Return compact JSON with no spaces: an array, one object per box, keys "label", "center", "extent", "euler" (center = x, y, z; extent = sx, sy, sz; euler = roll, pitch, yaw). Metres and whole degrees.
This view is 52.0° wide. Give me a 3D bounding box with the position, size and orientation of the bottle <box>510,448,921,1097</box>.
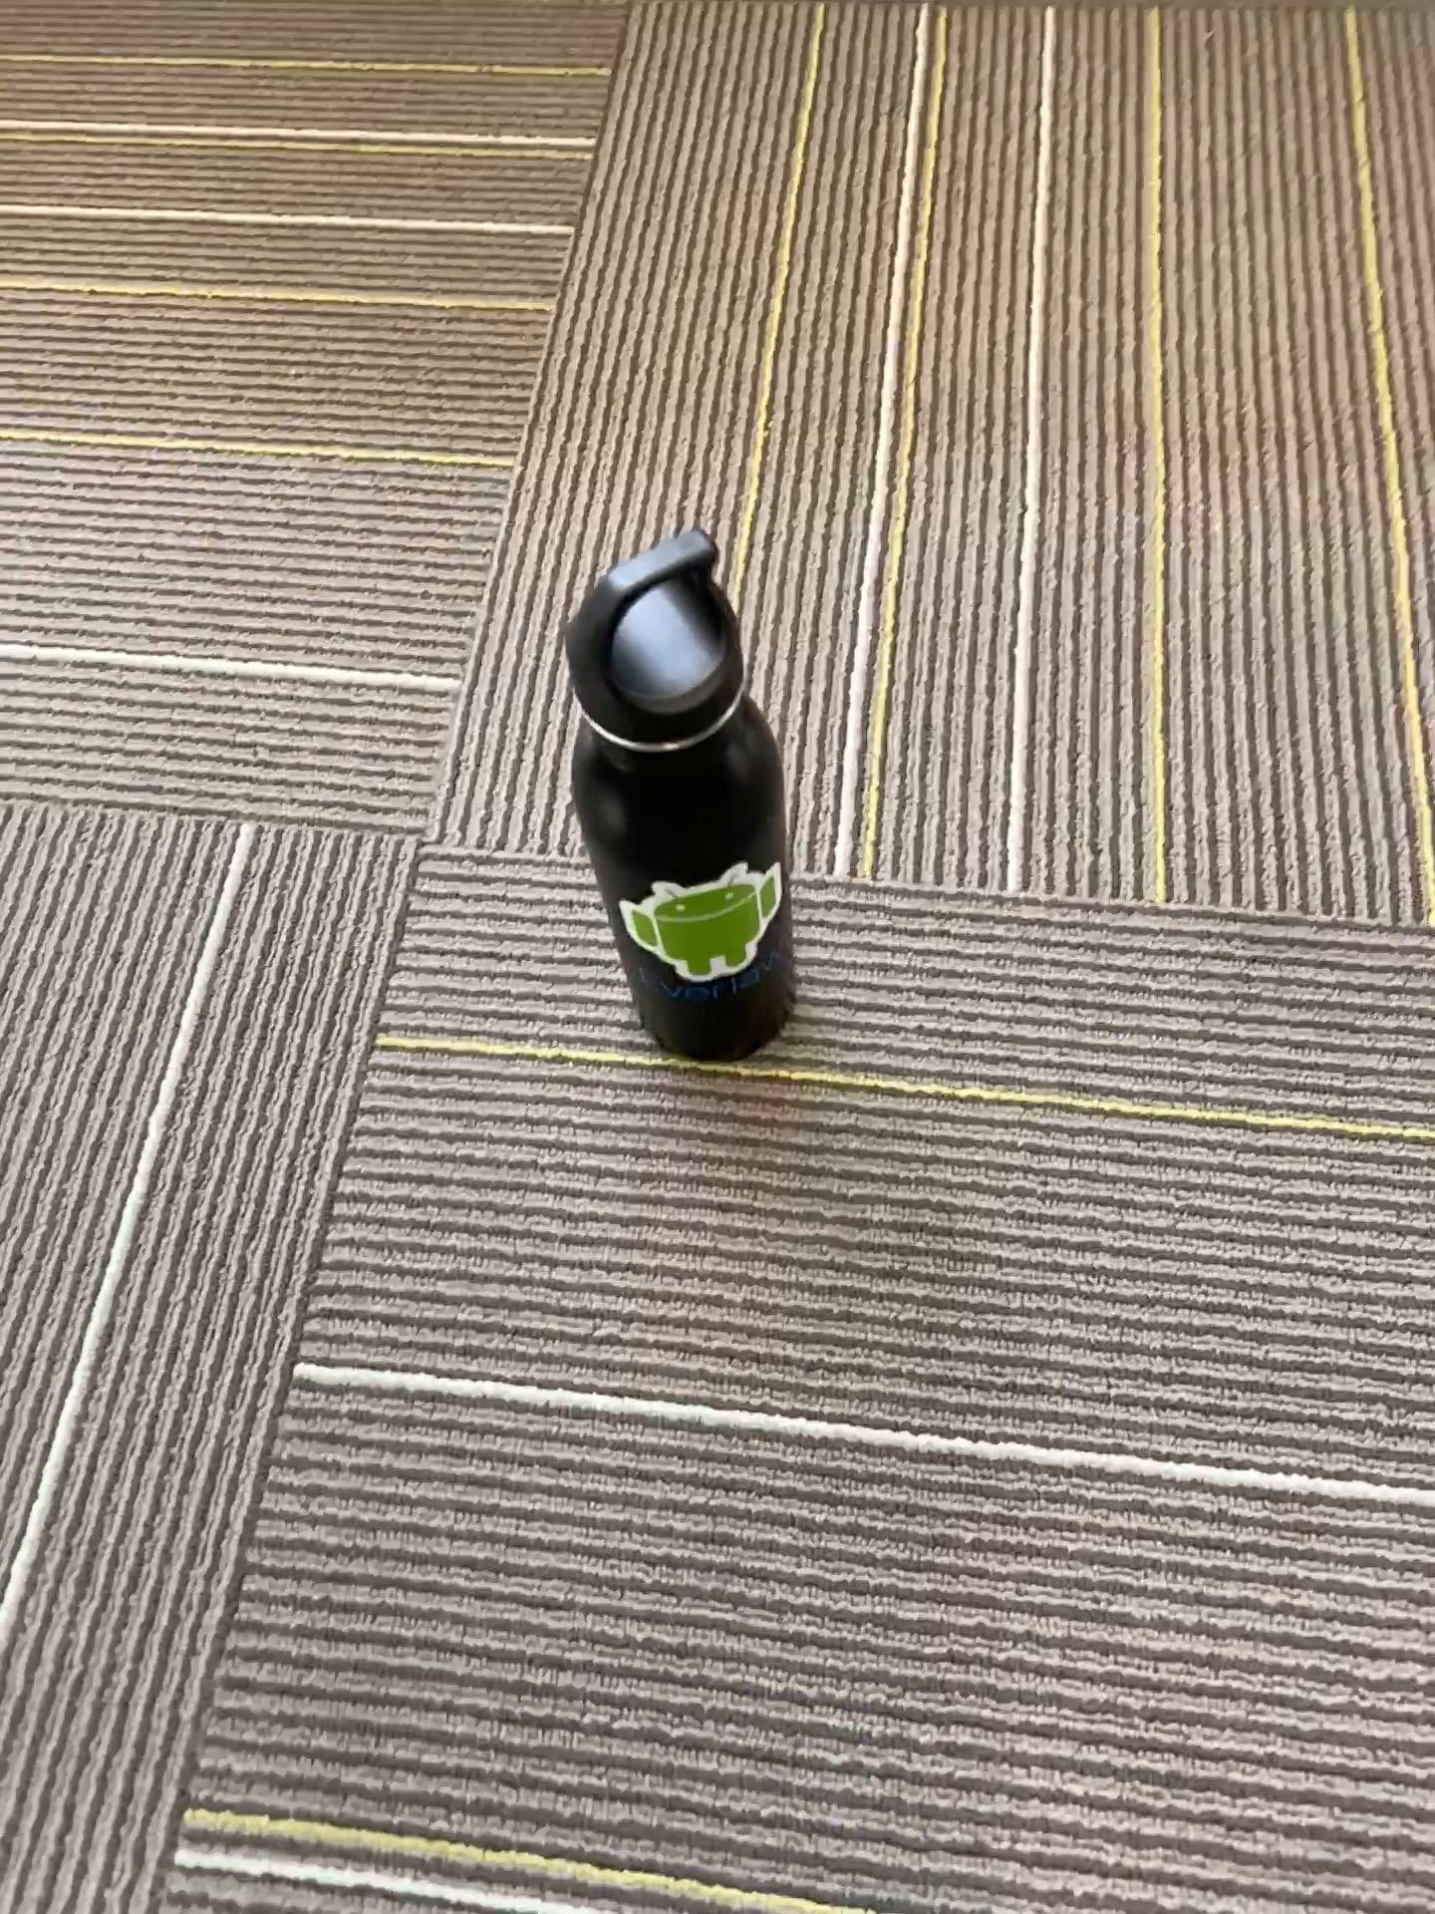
[{"label":"bottle","center":[0.005,-0.042,0.490],"extent":[0.090,0.239,0.080],"euler":[-15,65,-3]}]
